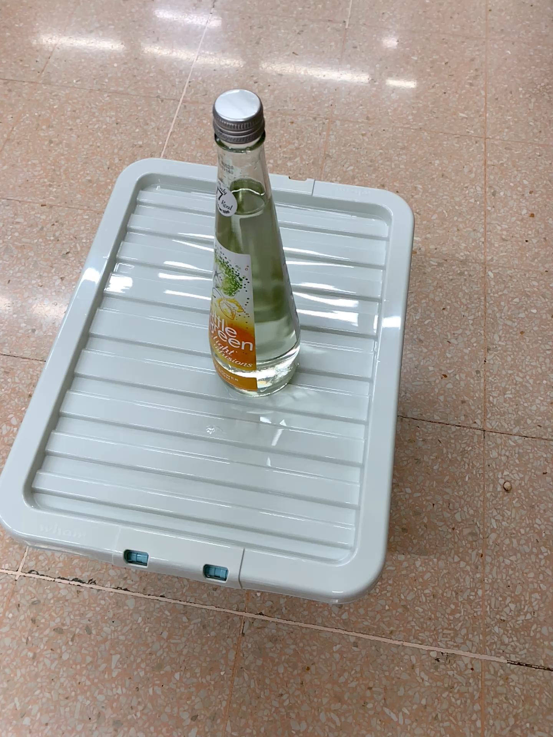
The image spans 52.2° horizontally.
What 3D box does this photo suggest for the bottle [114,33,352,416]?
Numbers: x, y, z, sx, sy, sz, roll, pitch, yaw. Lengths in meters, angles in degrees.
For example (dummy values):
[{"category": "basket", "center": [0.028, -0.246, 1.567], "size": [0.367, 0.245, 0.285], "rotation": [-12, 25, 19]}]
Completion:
[{"category": "bottle", "center": [-0.024, -0.075, 0.429], "size": [0.090, 0.289, 0.090], "rotation": [0, 64, 0]}]
